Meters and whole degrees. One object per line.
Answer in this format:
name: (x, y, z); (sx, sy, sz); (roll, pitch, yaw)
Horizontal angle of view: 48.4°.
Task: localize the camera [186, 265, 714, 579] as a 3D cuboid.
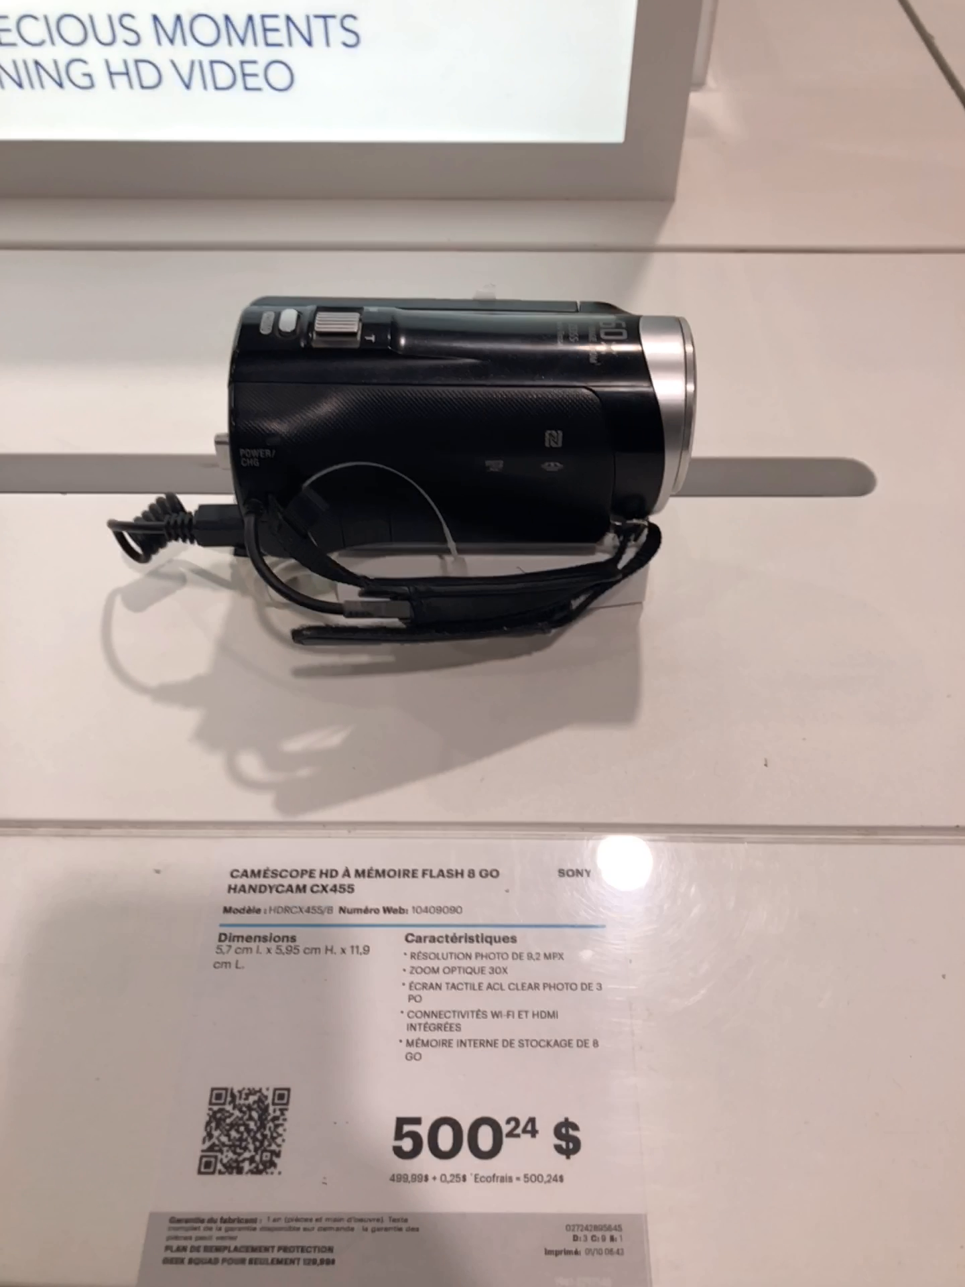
camera: (-0.008, -0.058, 0.286); (0.121, 0.058, 0.057); (-1, 50, 0)
